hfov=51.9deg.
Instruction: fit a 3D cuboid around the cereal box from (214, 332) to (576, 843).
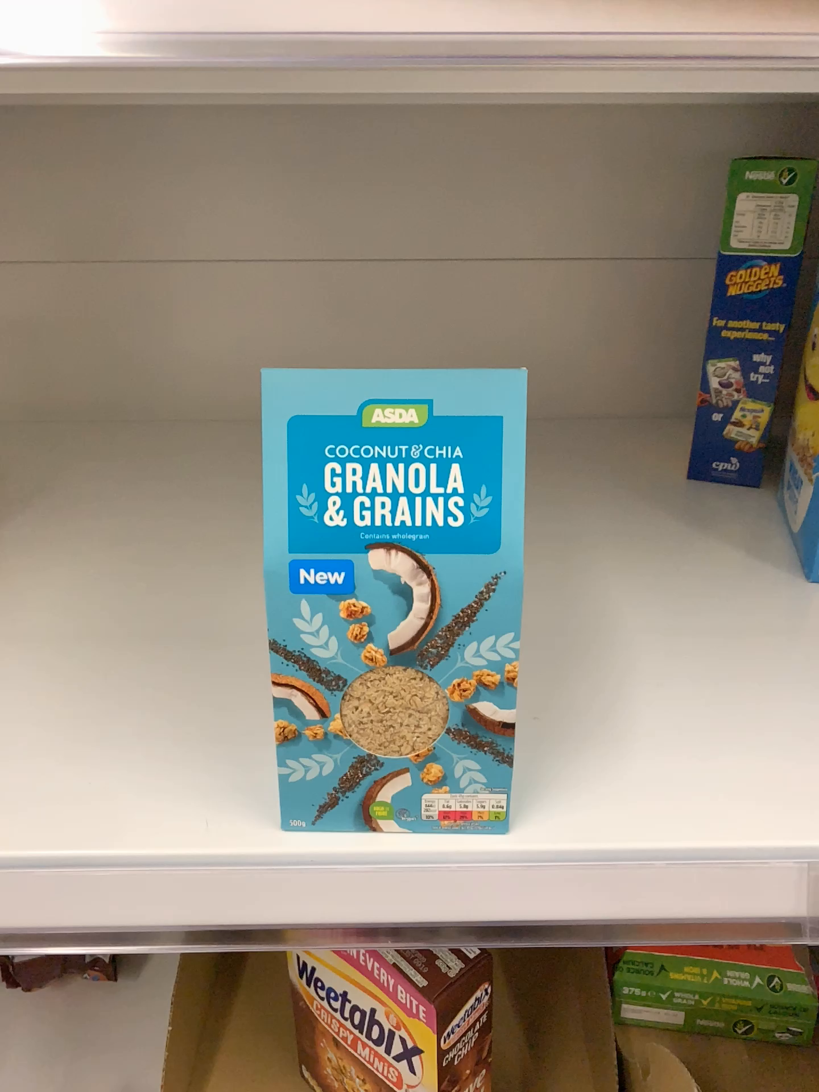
[{"bbox_3d":[-0.004,0.025,0.407,0.140,0.238,0.071,1,25,2],"label":"cereal box"}]
